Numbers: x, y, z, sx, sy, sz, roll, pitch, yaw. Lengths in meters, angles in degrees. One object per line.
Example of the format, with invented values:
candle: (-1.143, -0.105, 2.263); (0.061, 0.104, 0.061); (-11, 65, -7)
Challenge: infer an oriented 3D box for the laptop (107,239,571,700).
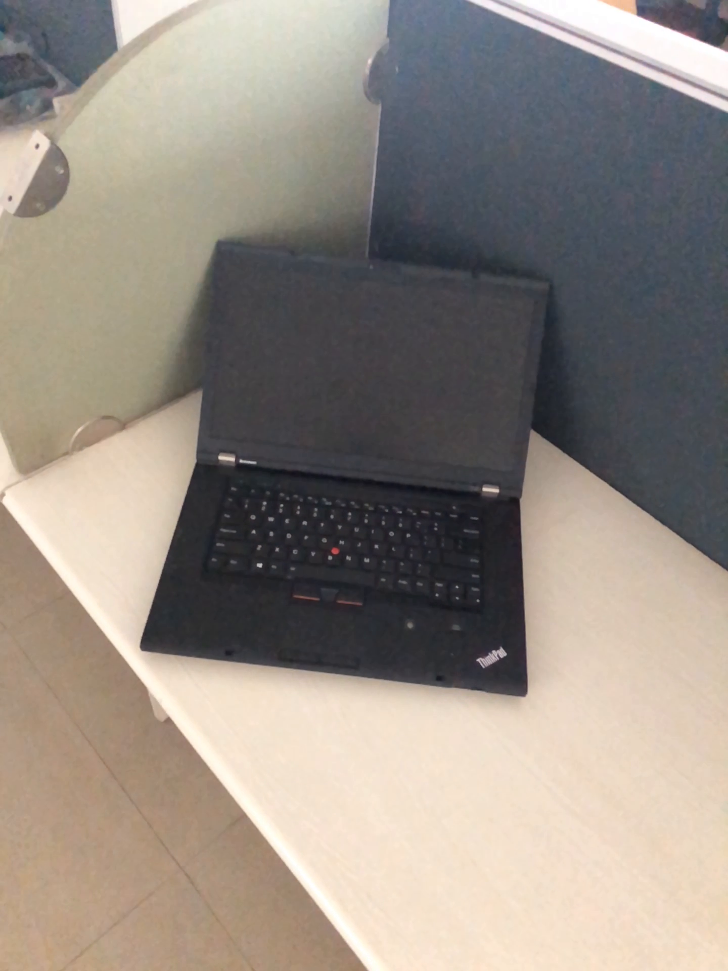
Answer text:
laptop: (-0.004, -0.036, 0.798); (0.355, 0.168, 0.406); (7, 51, 1)
